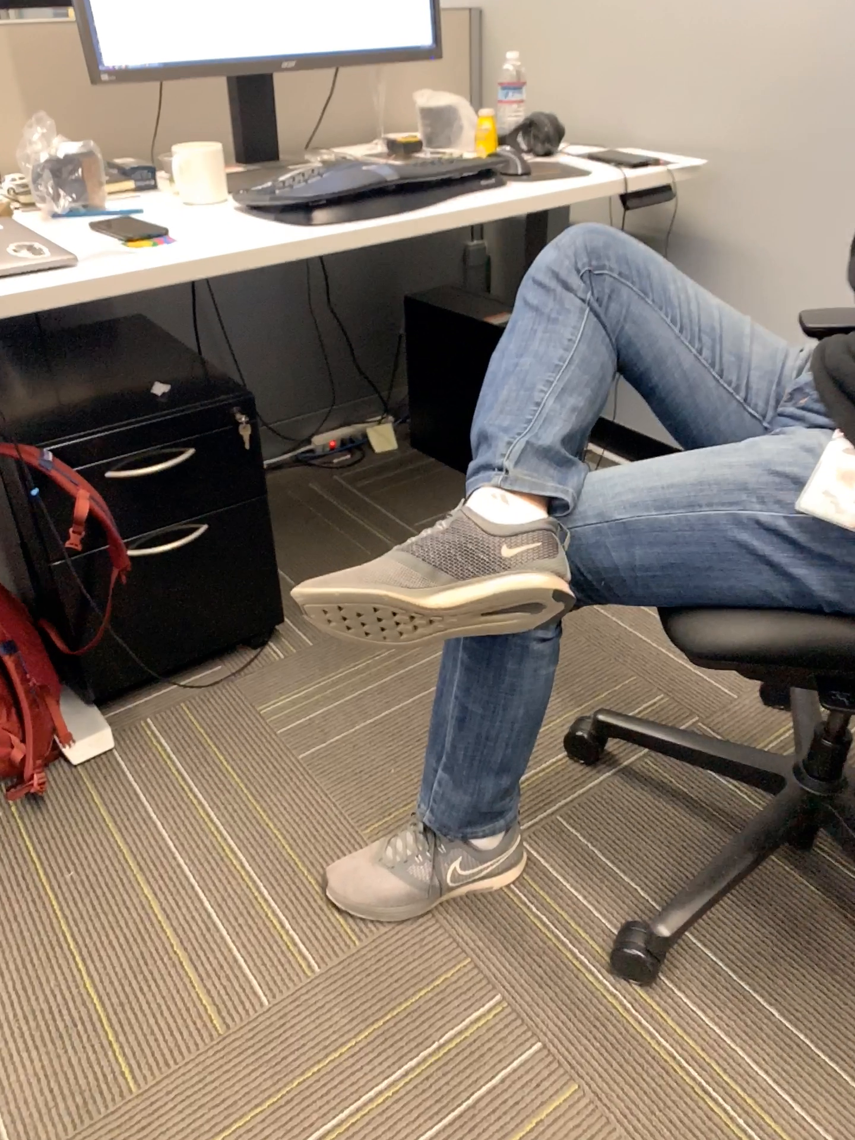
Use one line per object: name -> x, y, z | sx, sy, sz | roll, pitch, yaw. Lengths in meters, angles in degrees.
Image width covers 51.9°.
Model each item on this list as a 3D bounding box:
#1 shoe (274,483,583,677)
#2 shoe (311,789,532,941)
shoe -> 0.007, 0.007, 0.917 | 0.295, 0.120, 0.134 | 5, 37, 7
shoe -> -0.010, 0.412, 1.240 | 0.287, 0.092, 0.114 | -9, 34, -11
